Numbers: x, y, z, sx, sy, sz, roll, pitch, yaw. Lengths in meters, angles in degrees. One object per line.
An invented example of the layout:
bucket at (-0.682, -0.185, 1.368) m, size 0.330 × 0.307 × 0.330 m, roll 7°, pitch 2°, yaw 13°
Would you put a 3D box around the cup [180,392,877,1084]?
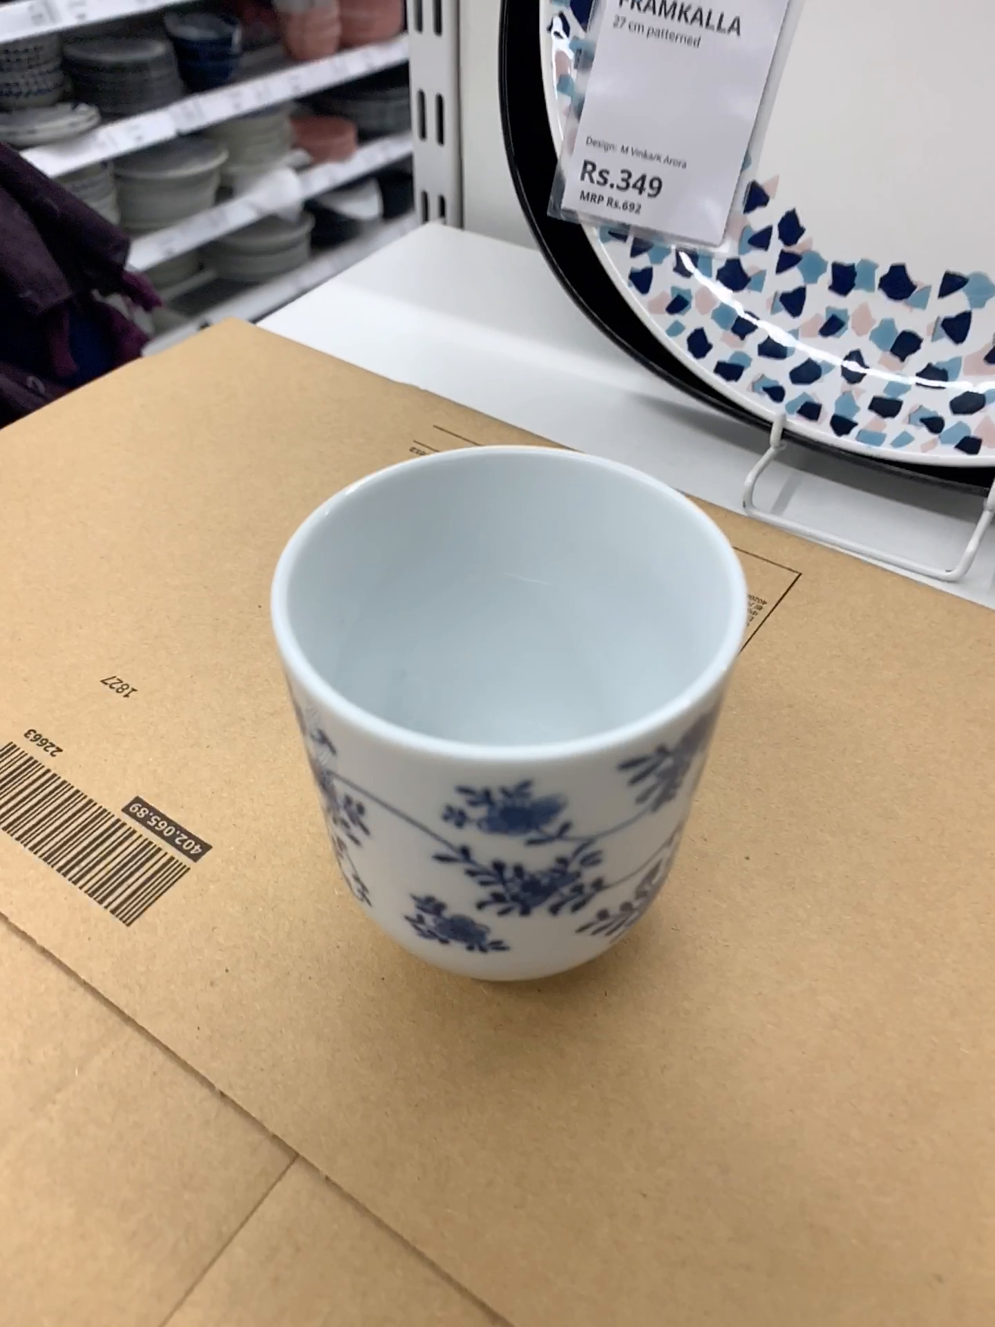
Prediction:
cup at (0.004, 0.012, 0.175) m, size 0.080 × 0.080 × 0.080 m, roll 1°, pitch 43°, yaw -1°
